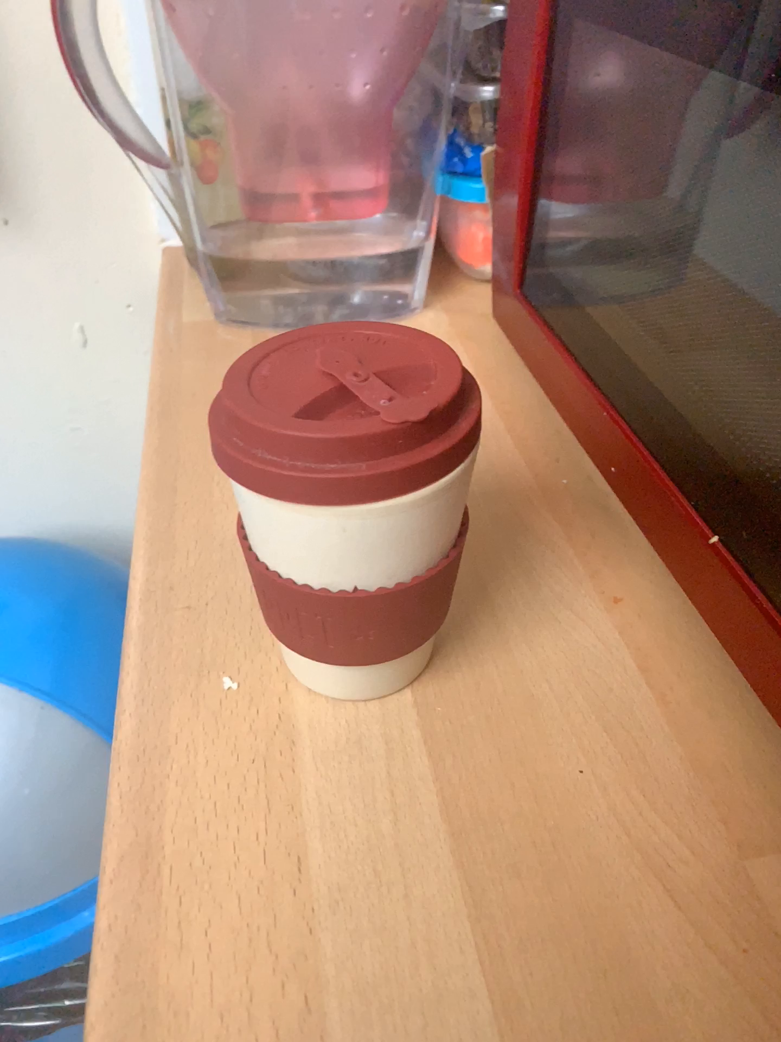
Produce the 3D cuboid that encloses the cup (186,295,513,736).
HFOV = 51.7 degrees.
[{"bbox_3d":[-0.017,-0.003,0.287,0.086,0.115,0.088,-1,39,1],"label":"cup"}]
